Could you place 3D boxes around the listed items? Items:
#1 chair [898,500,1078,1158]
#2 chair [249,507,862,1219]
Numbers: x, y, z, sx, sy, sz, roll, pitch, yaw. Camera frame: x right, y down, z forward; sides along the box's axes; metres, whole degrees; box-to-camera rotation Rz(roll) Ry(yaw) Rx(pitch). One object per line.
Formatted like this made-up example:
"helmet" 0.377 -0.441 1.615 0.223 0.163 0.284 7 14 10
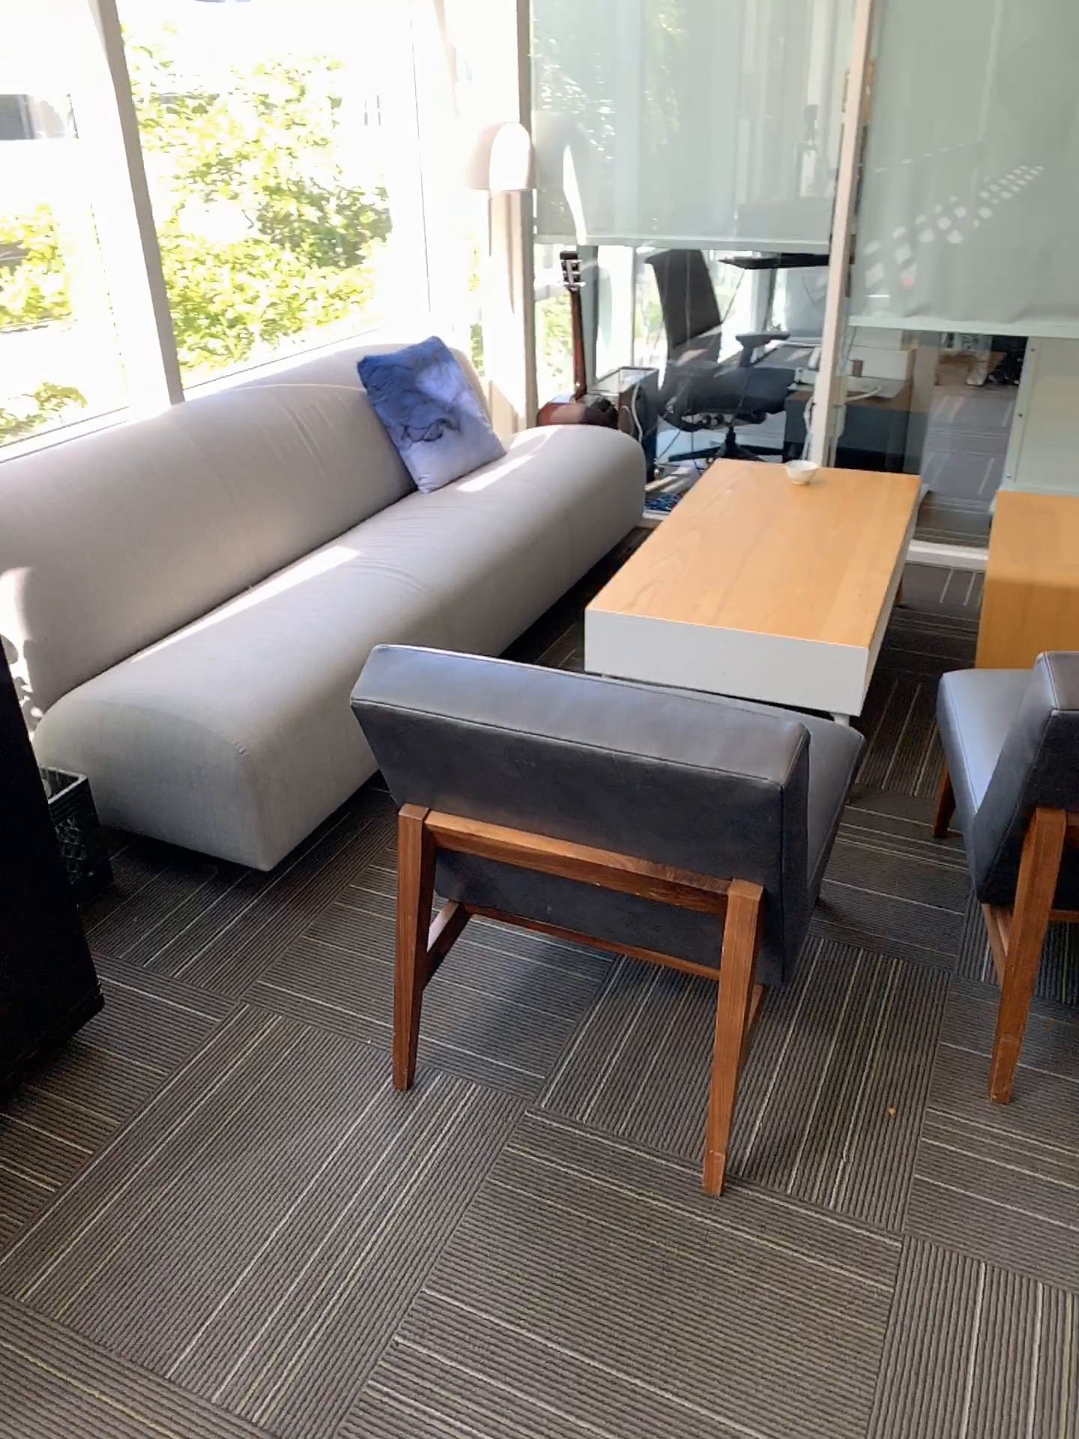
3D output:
"chair" 1.096 0.126 1.962 0.680 0.766 0.855 4 29 9
"chair" 0.099 0.163 1.933 0.741 0.766 0.854 9 31 18
